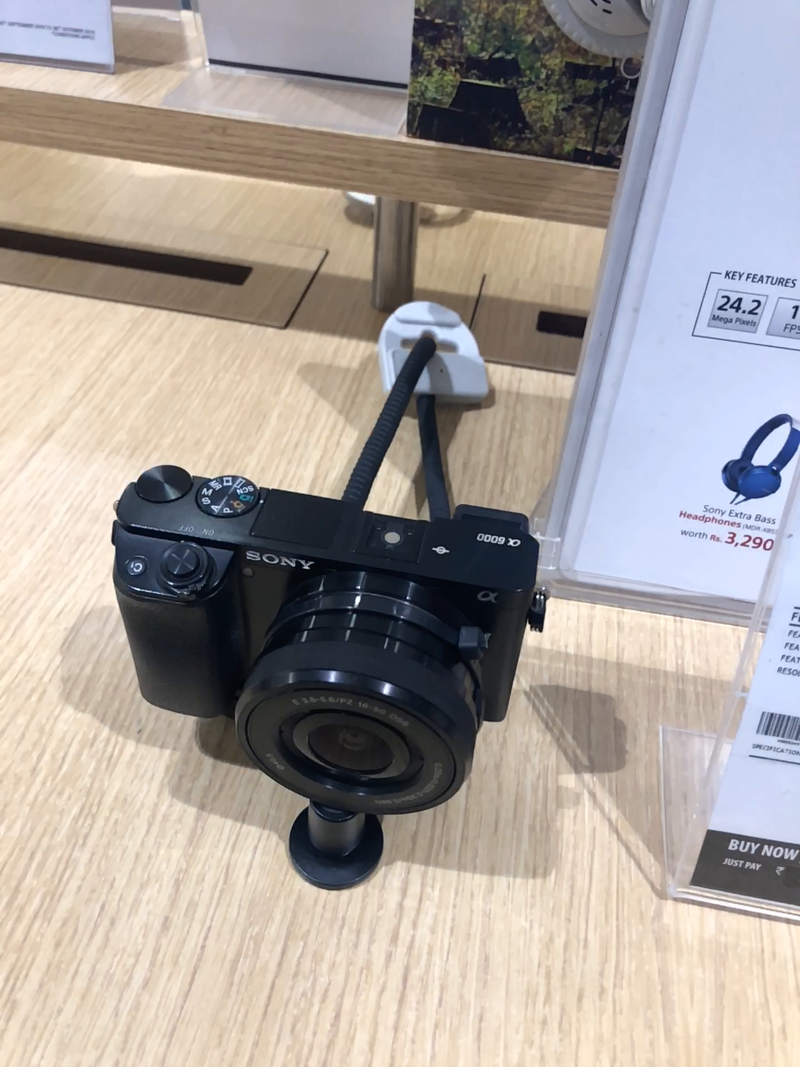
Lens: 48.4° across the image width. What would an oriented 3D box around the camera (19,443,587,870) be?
[{"bbox_3d":[-0.020,0.033,0.249,0.130,0.070,0.070,9,44,4],"label":"camera"}]
